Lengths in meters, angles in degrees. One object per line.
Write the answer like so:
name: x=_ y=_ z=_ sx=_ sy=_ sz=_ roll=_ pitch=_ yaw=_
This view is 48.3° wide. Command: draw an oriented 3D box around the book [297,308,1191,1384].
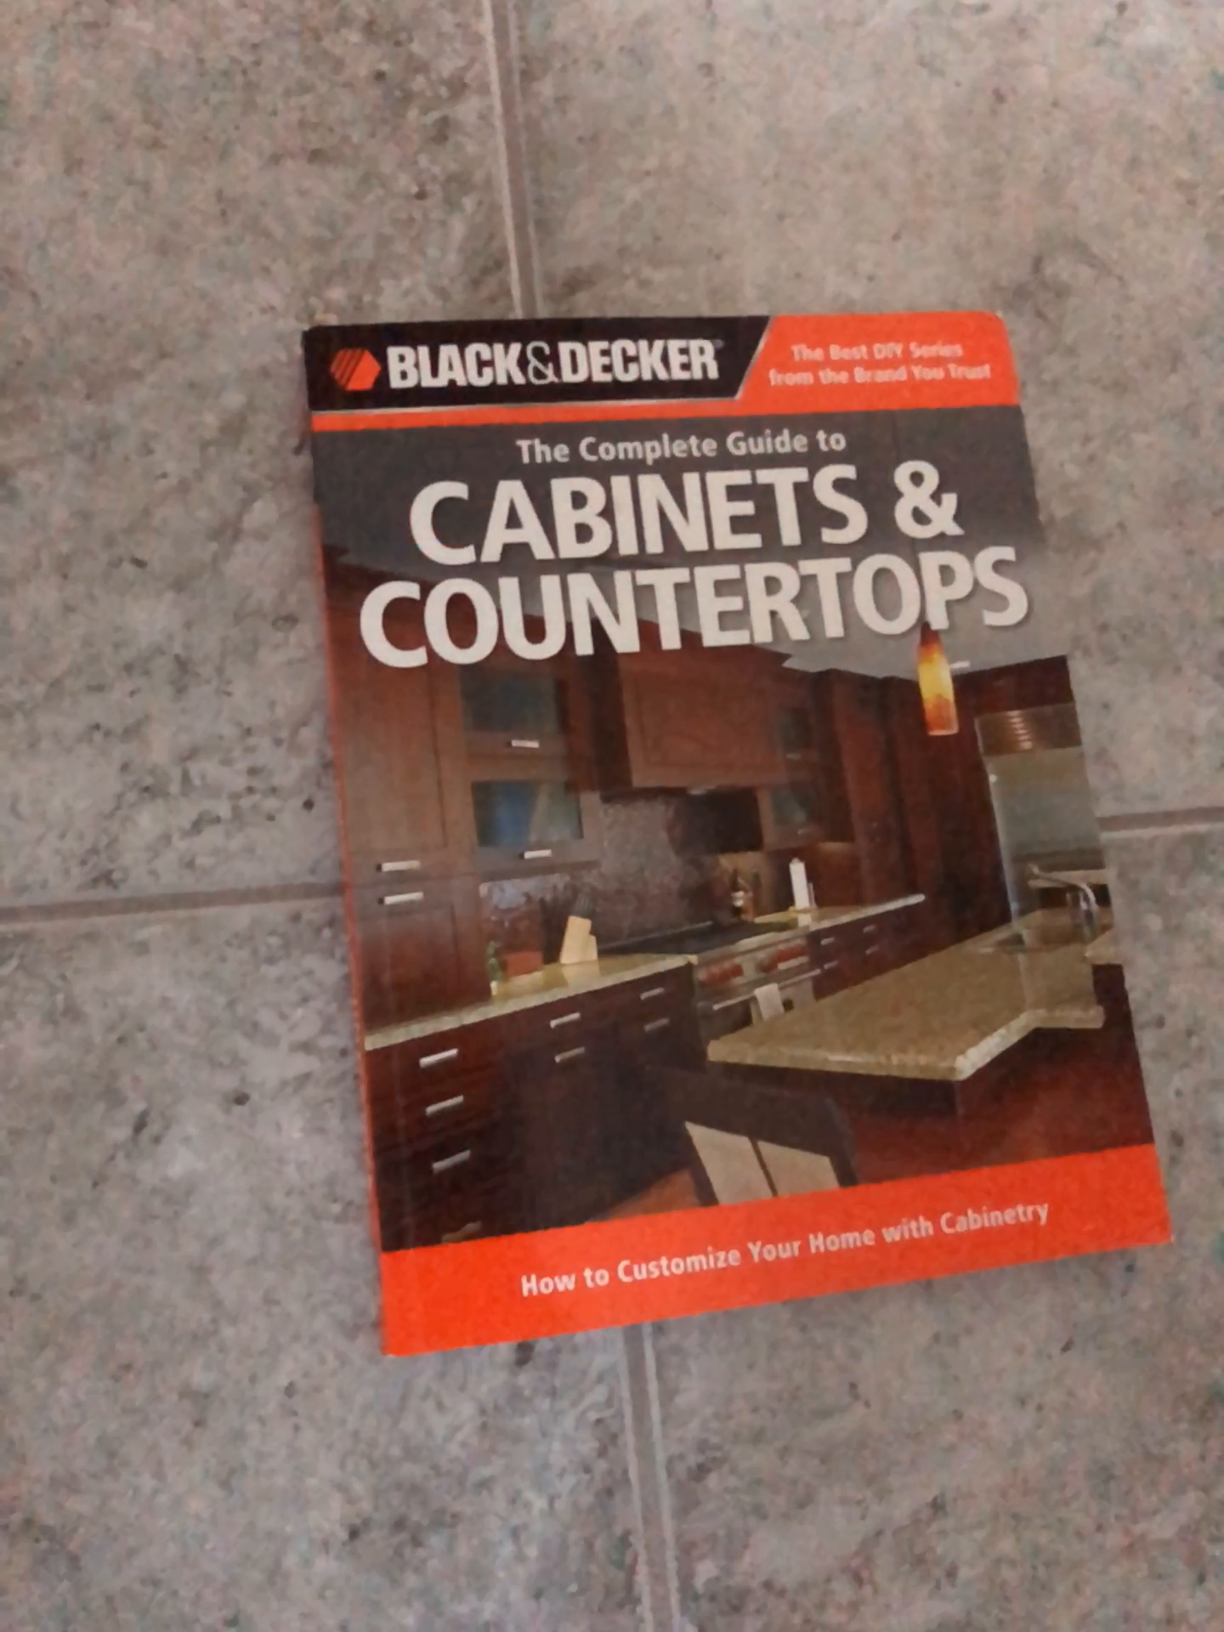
book: x=0.032 y=-0.006 z=0.383 sx=0.215 sy=0.022 sz=0.281 roll=-5 pitch=80 yaw=-9
